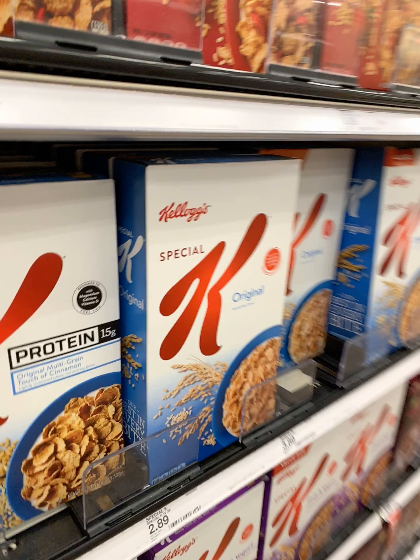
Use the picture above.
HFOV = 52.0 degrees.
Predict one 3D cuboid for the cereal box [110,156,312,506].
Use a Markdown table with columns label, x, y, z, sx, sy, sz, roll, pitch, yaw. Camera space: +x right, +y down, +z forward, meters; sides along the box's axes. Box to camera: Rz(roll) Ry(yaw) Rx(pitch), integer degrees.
| label | x | y | z | sx | sy | sz | roll | pitch | yaw |
| --- | --- | --- | --- | --- | --- | --- | --- | --- | --- |
| cereal box | 0.003 | 0.041 | 0.444 | 0.190 | 0.319 | 0.060 | -14 | 25 | -39 |
